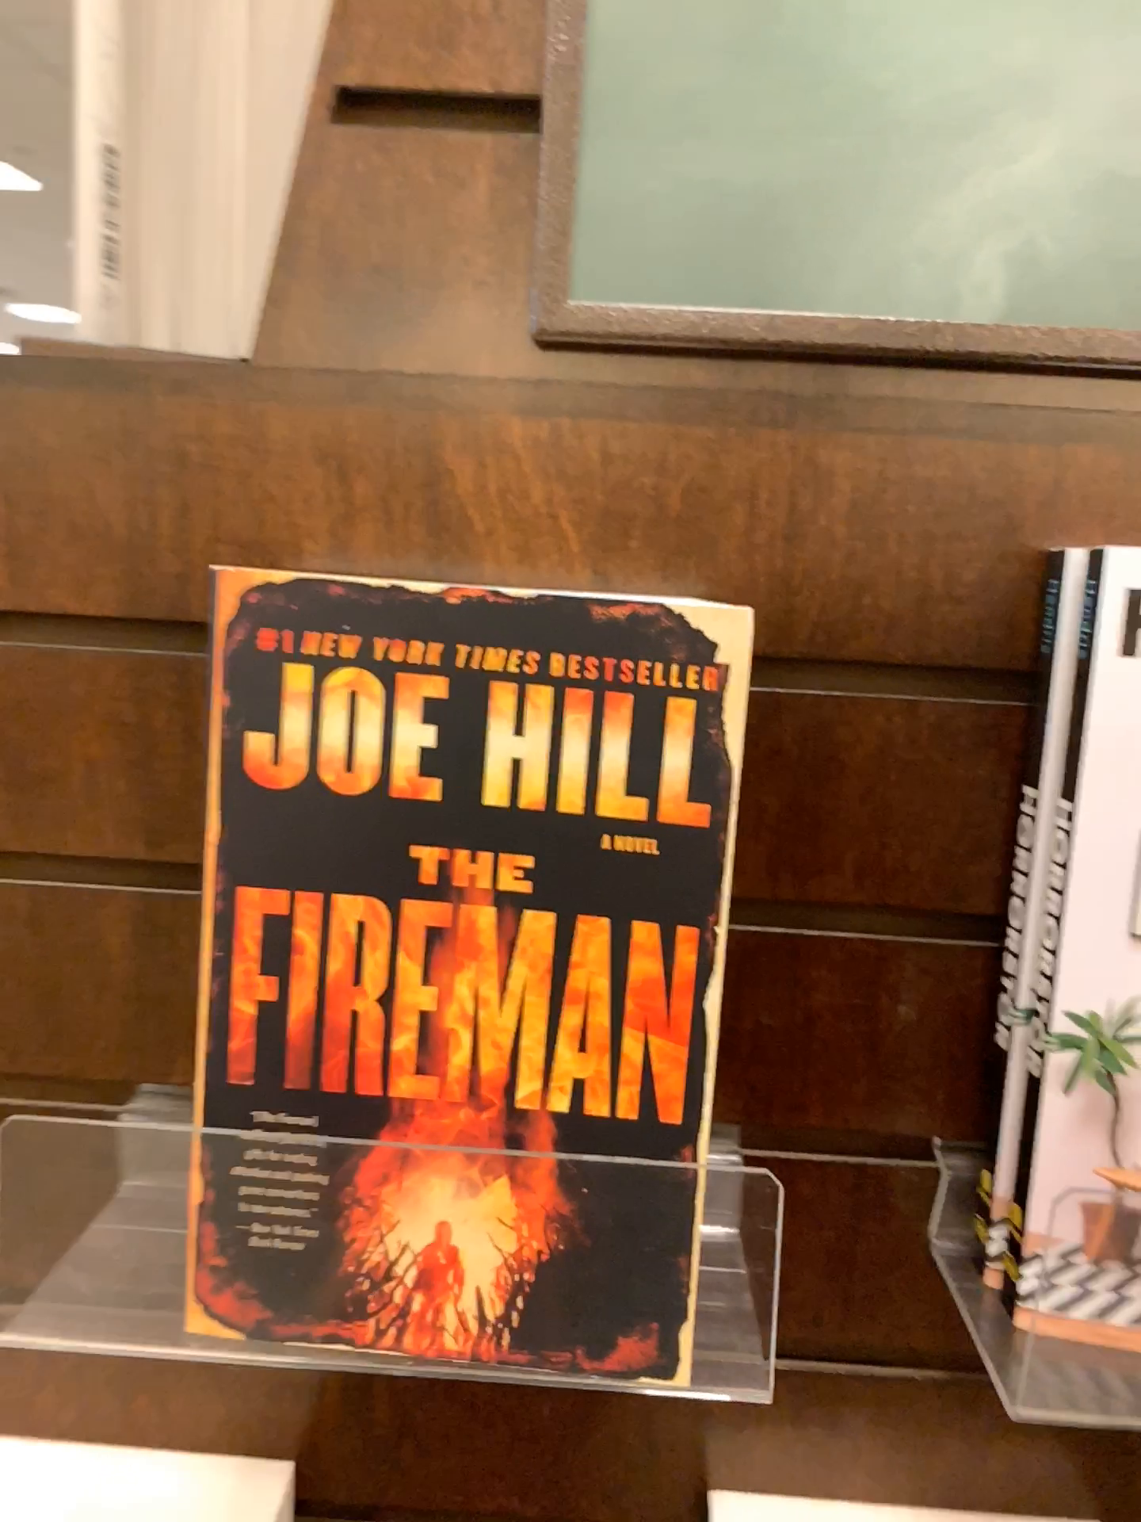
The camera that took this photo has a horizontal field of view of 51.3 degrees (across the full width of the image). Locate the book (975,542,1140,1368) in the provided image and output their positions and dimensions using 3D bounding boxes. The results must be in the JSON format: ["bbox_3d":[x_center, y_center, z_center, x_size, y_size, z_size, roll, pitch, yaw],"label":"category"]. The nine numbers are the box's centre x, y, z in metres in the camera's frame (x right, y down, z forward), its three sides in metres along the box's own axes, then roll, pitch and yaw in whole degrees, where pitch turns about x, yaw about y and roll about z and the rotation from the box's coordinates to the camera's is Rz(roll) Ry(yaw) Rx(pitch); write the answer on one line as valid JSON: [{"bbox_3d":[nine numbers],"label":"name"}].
[{"bbox_3d":[0.225,0.049,0.337,0.188,0.208,0.026,5,6,11],"label":"book"}]

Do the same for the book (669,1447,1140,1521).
[{"bbox_3d":[0.125,0.370,0.414,0.159,0.202,0.062,5,6,11],"label":"book"}]

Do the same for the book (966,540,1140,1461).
[{"bbox_3d":[0.212,0.055,0.305,0.188,0.208,0.026,5,6,11],"label":"book"}]

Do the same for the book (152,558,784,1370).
[{"bbox_3d":[-0.027,0.048,0.325,0.146,0.194,0.069,3,6,2],"label":"book"}]
